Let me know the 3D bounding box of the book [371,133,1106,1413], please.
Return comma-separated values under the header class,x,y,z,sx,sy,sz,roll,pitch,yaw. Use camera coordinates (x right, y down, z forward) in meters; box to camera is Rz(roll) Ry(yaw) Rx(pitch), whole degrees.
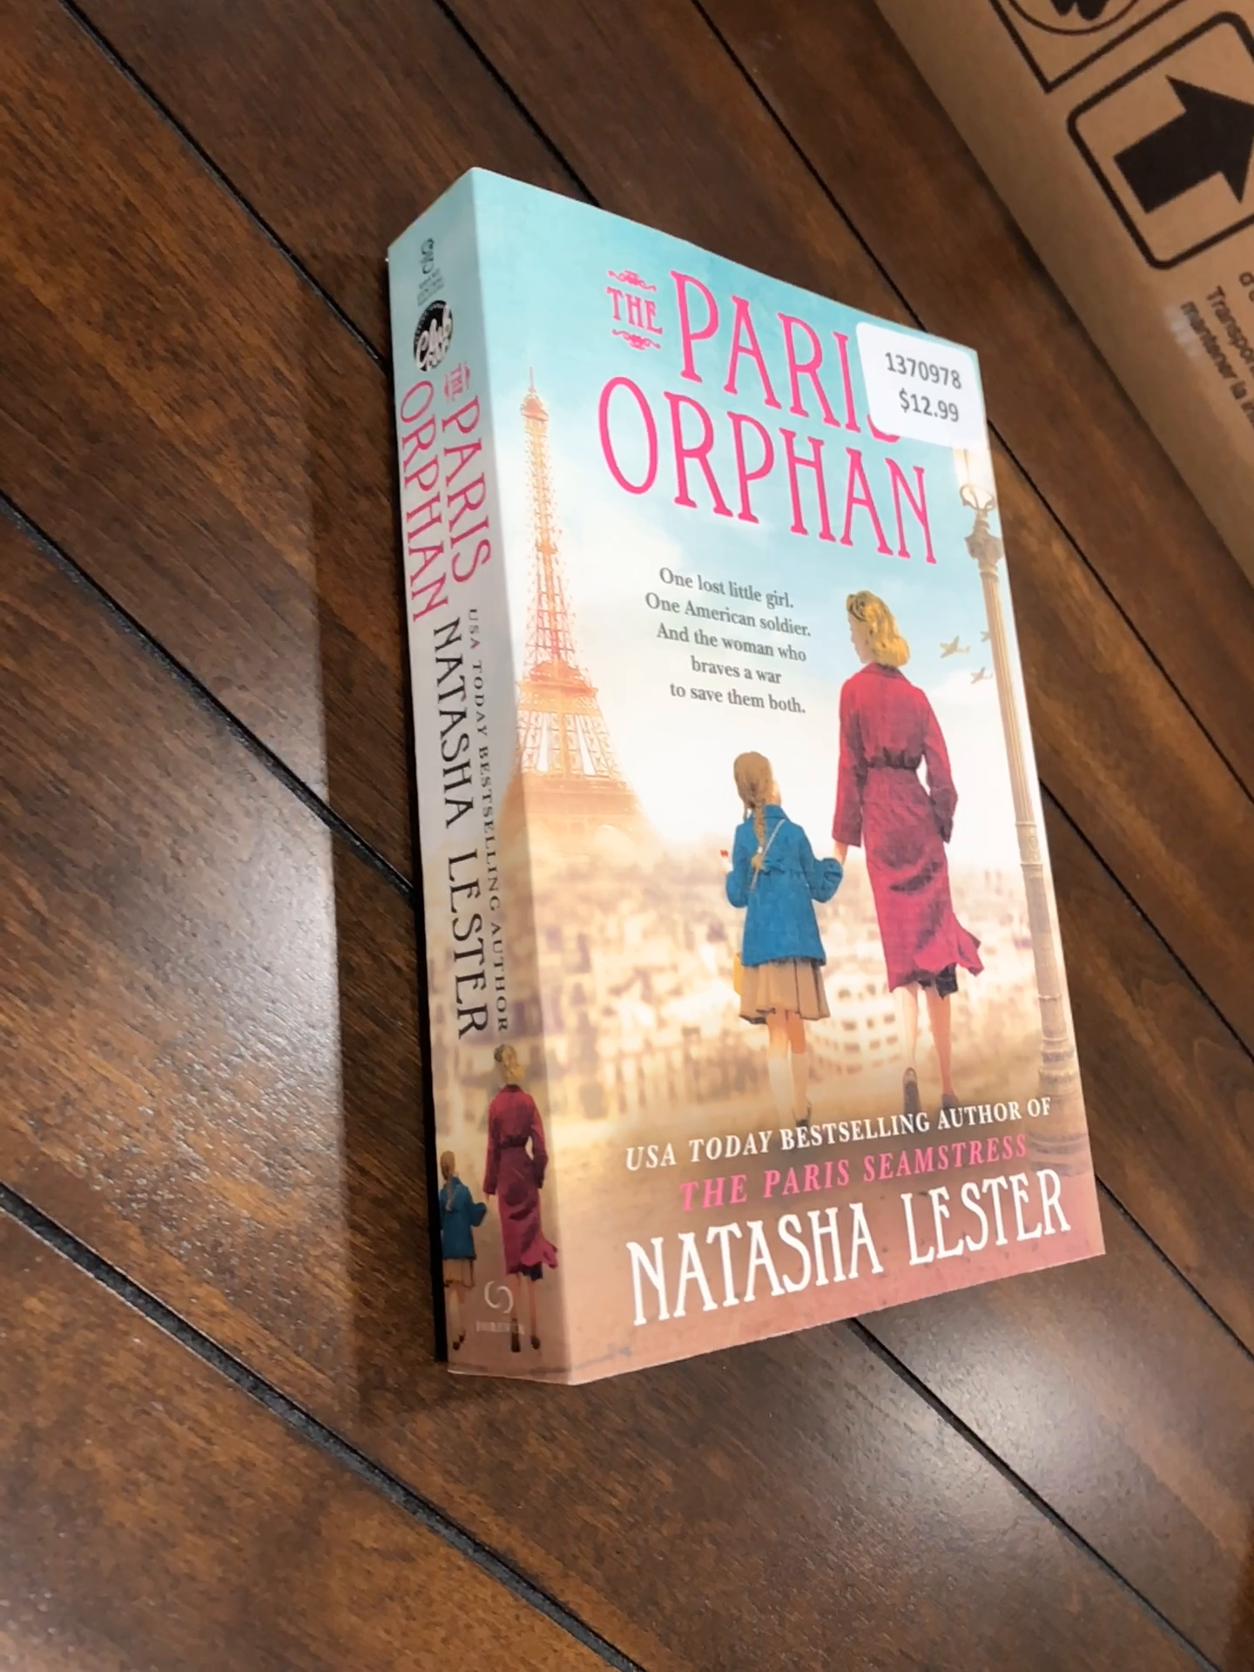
class,x,y,z,sx,sy,sz,roll,pitch,yaw
book,0.024,-0.011,0.266,0.135,0.035,0.198,4,77,-37
